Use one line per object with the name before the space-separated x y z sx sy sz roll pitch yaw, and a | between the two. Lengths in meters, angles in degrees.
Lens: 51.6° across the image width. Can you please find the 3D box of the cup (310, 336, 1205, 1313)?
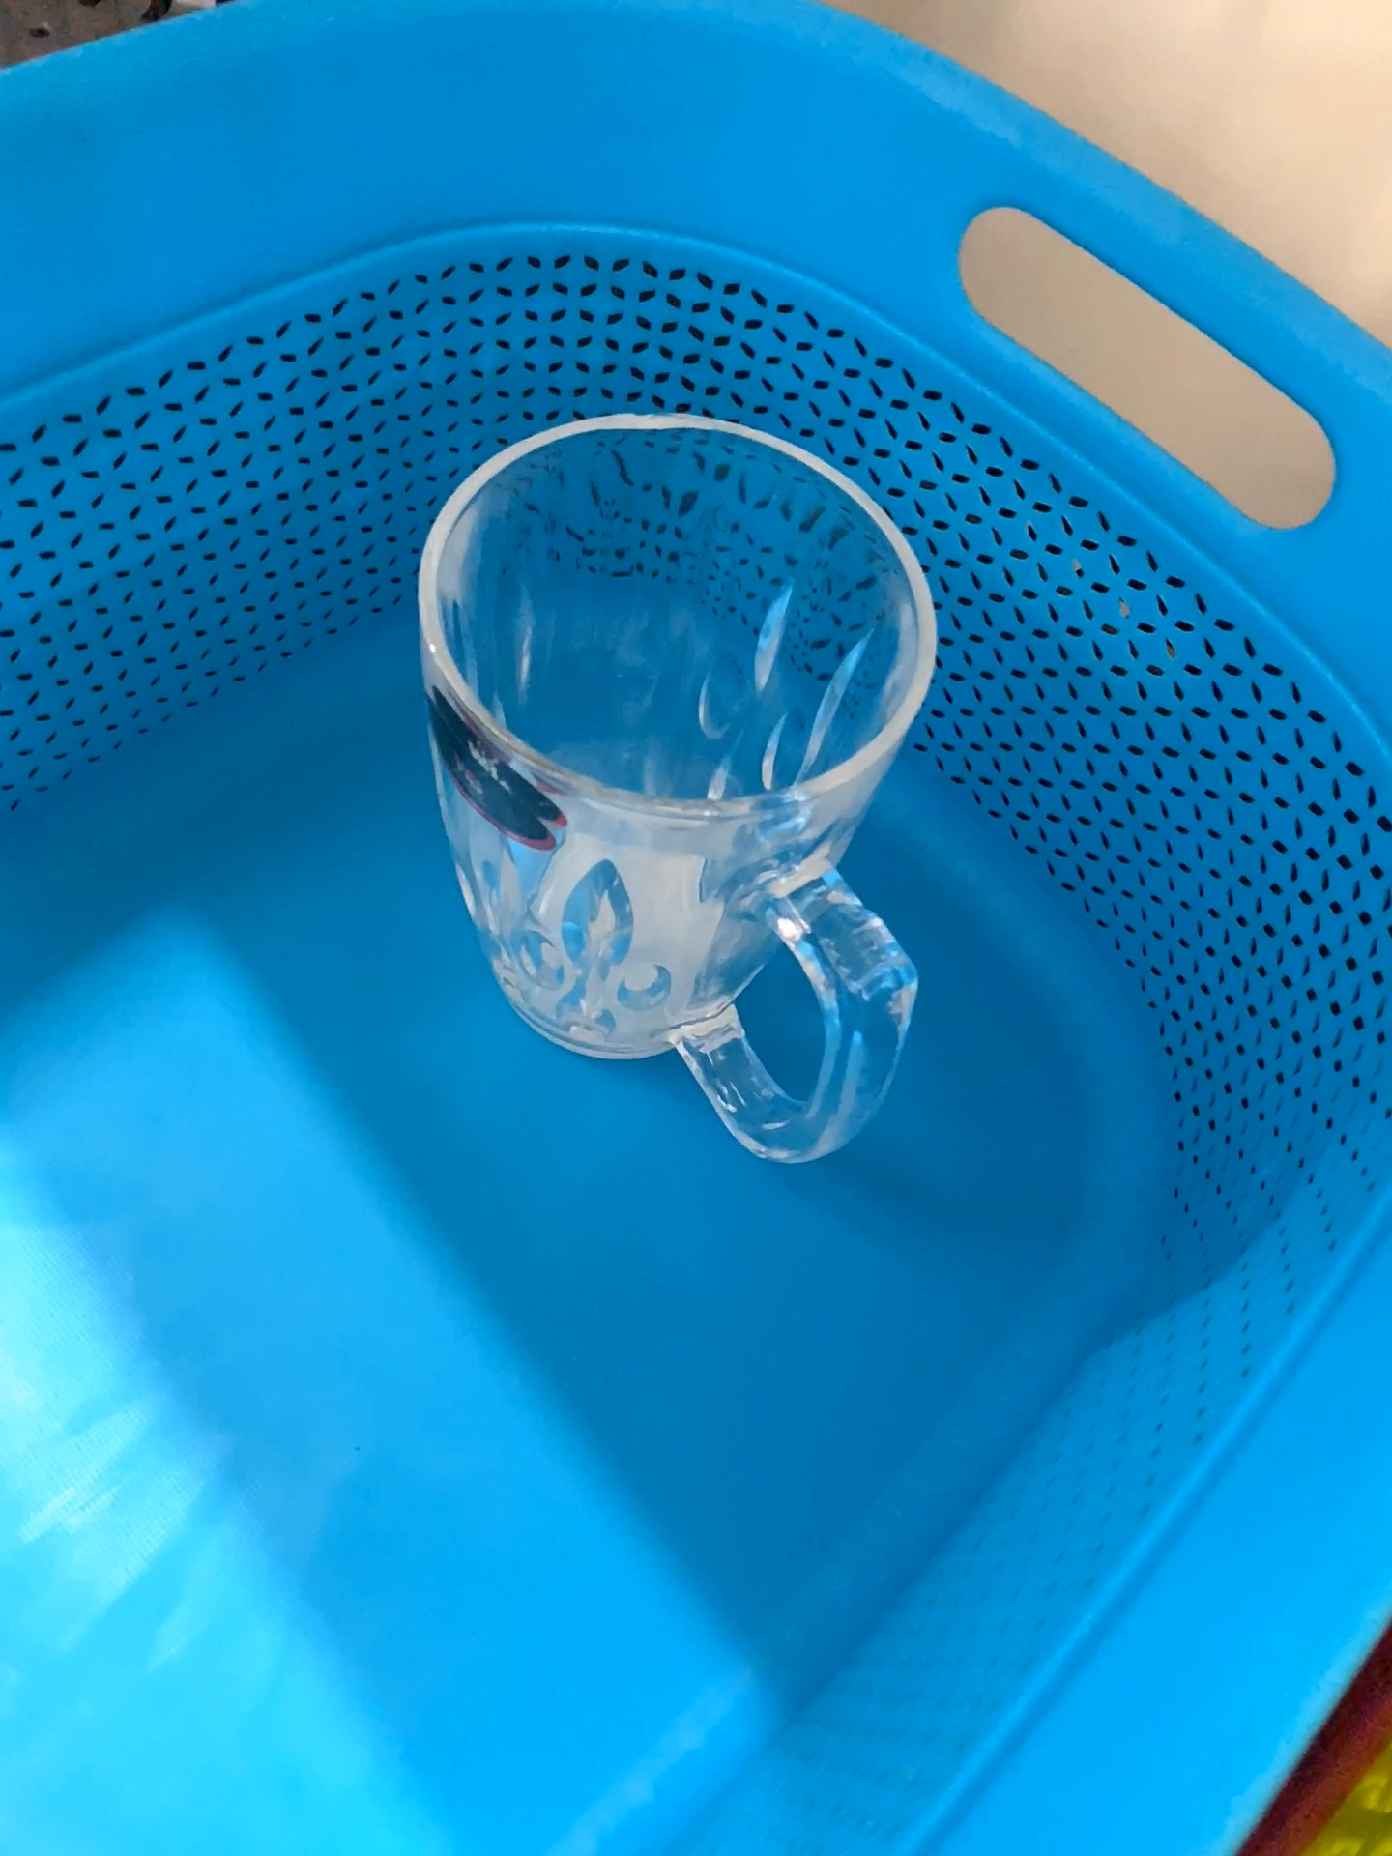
cup | 0.002 -0.012 0.260 0.078 0.117 0.110 -38 72 -25
